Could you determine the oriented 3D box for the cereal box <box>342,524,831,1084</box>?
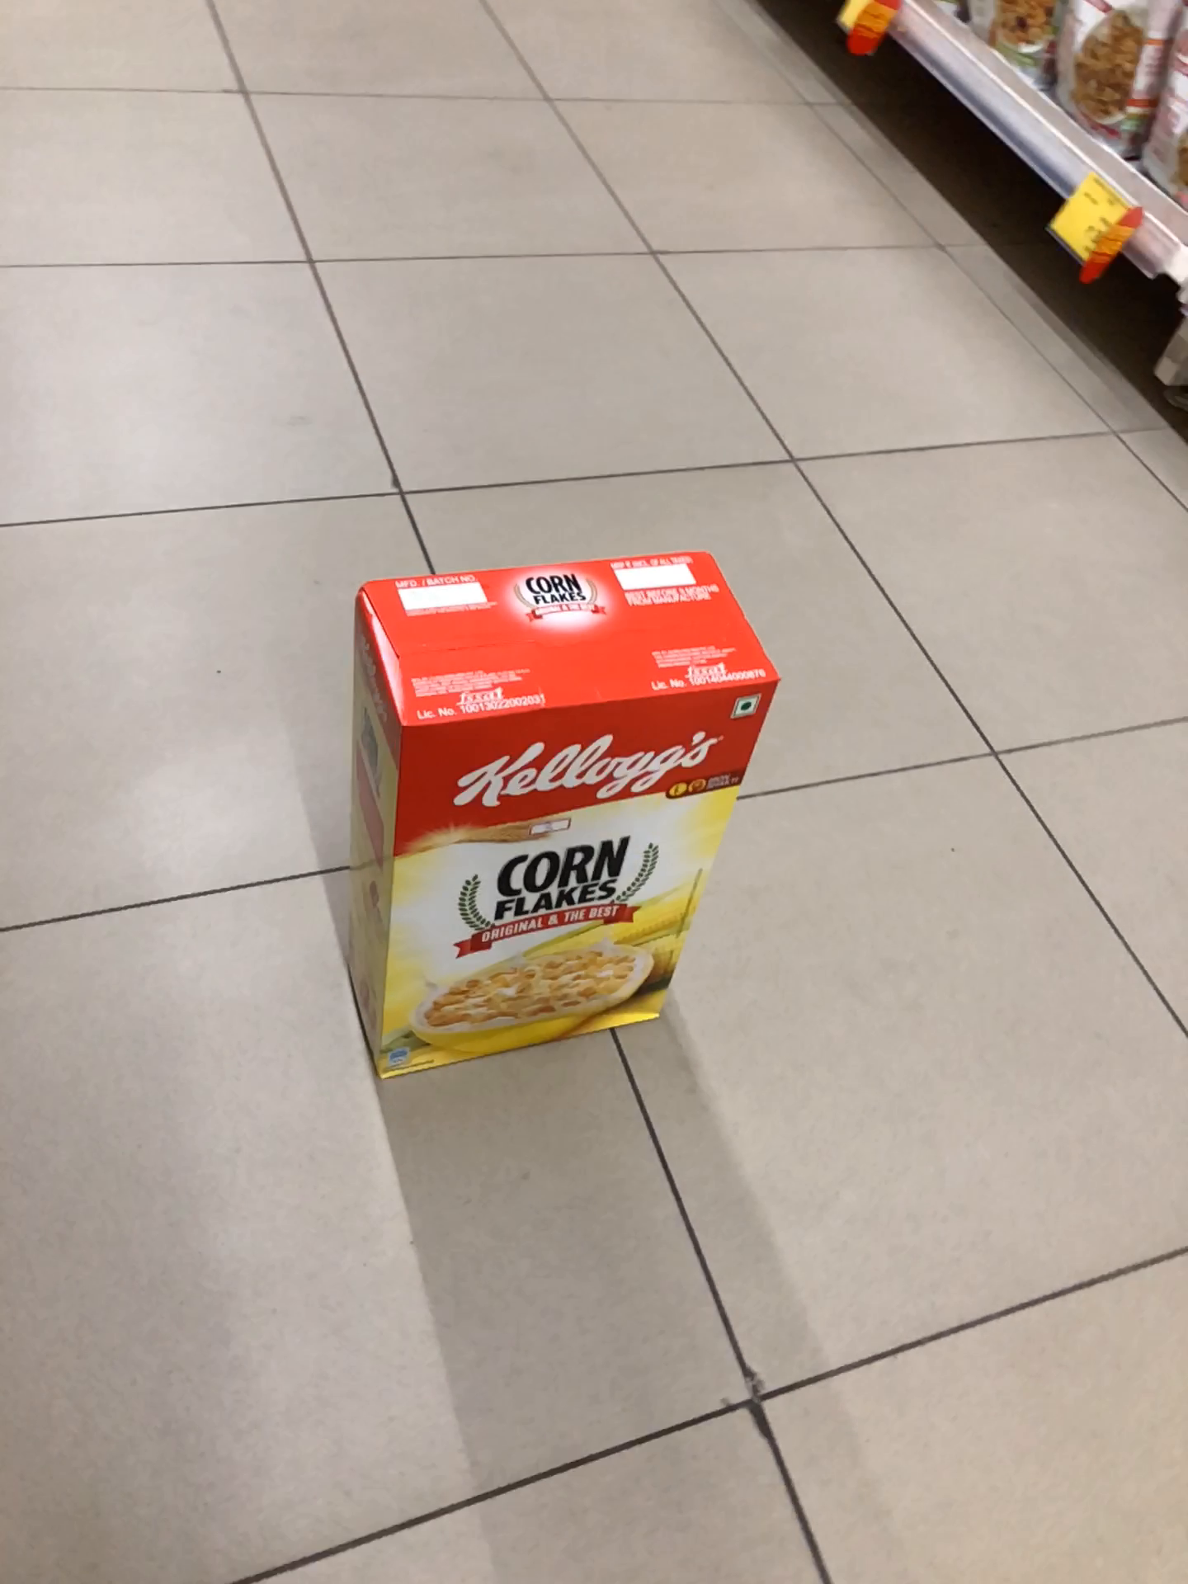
[{"bbox_3d":[-0.026,0.019,0.719,0.200,0.318,0.100,-9,53,-19],"label":"cereal box"}]
